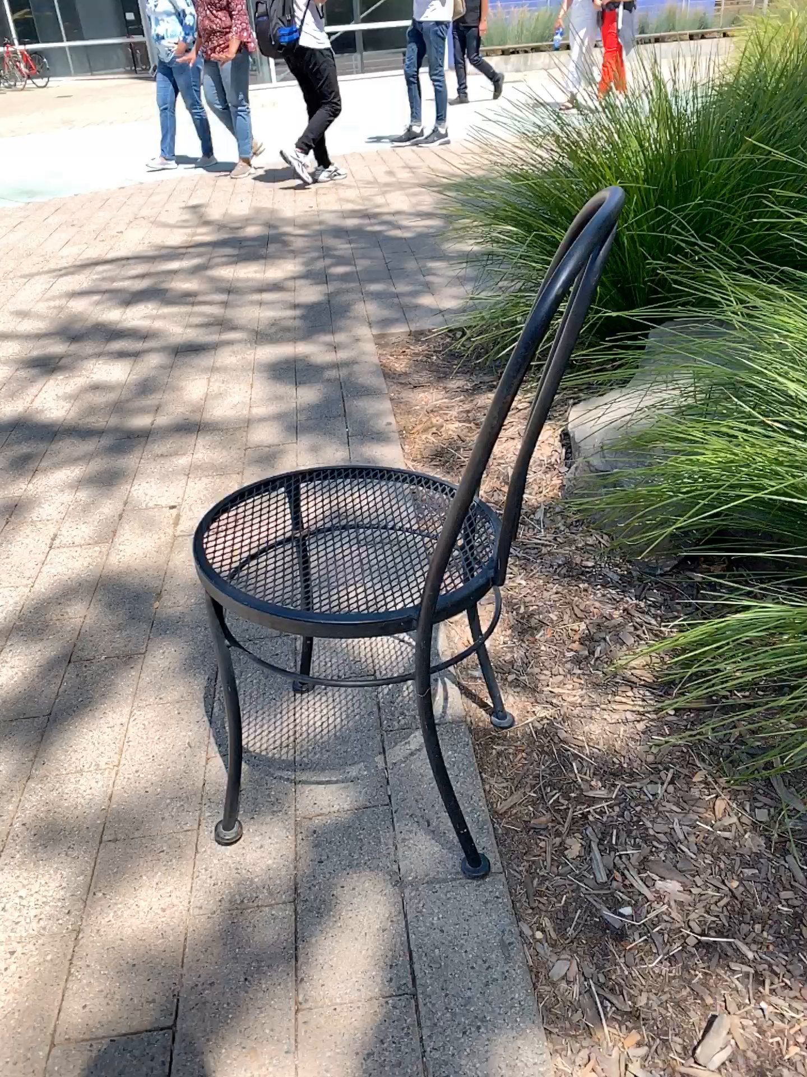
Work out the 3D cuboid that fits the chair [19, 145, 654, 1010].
[{"bbox_3d":[0.006,0.065,1.111,0.532,0.998,0.459,5,33,14],"label":"chair"}]
